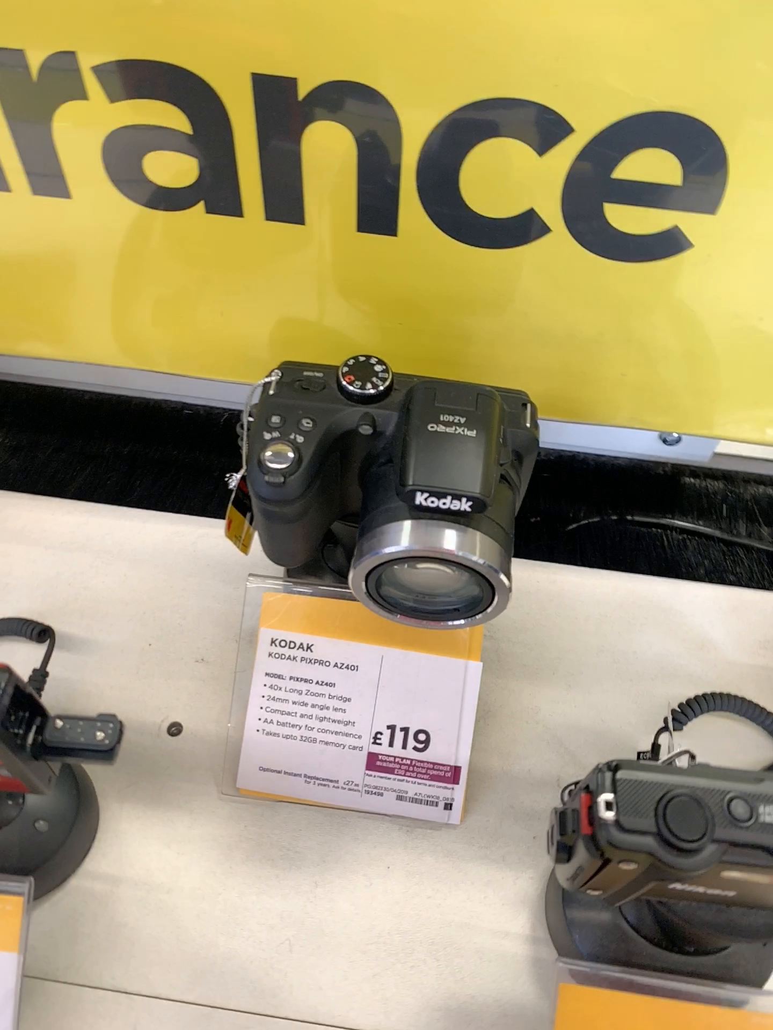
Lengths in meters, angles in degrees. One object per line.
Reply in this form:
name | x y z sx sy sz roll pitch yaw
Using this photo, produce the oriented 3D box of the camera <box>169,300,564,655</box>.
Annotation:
camera | -0.004 -0.013 0.326 0.130 0.099 0.091 6 54 2
